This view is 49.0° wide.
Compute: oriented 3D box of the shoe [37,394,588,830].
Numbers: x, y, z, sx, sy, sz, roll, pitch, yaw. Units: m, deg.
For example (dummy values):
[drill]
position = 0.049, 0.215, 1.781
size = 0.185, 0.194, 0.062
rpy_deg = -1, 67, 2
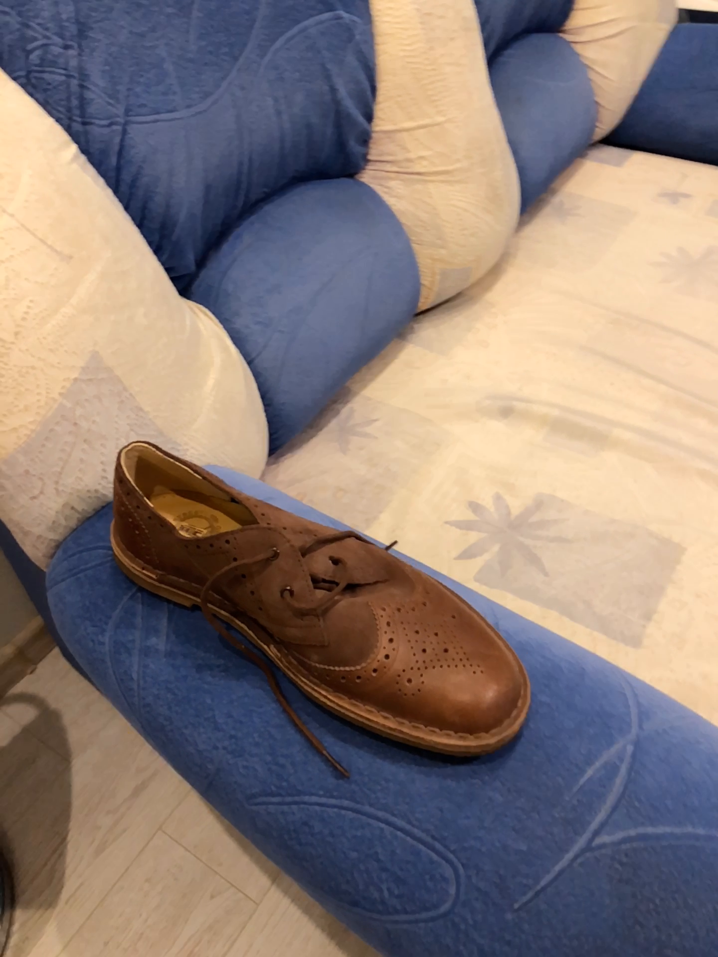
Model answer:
[shoe]
position = -0.036, 0.066, 0.490
size = 0.313, 0.089, 0.114
rpy_deg = 24, 52, 23
